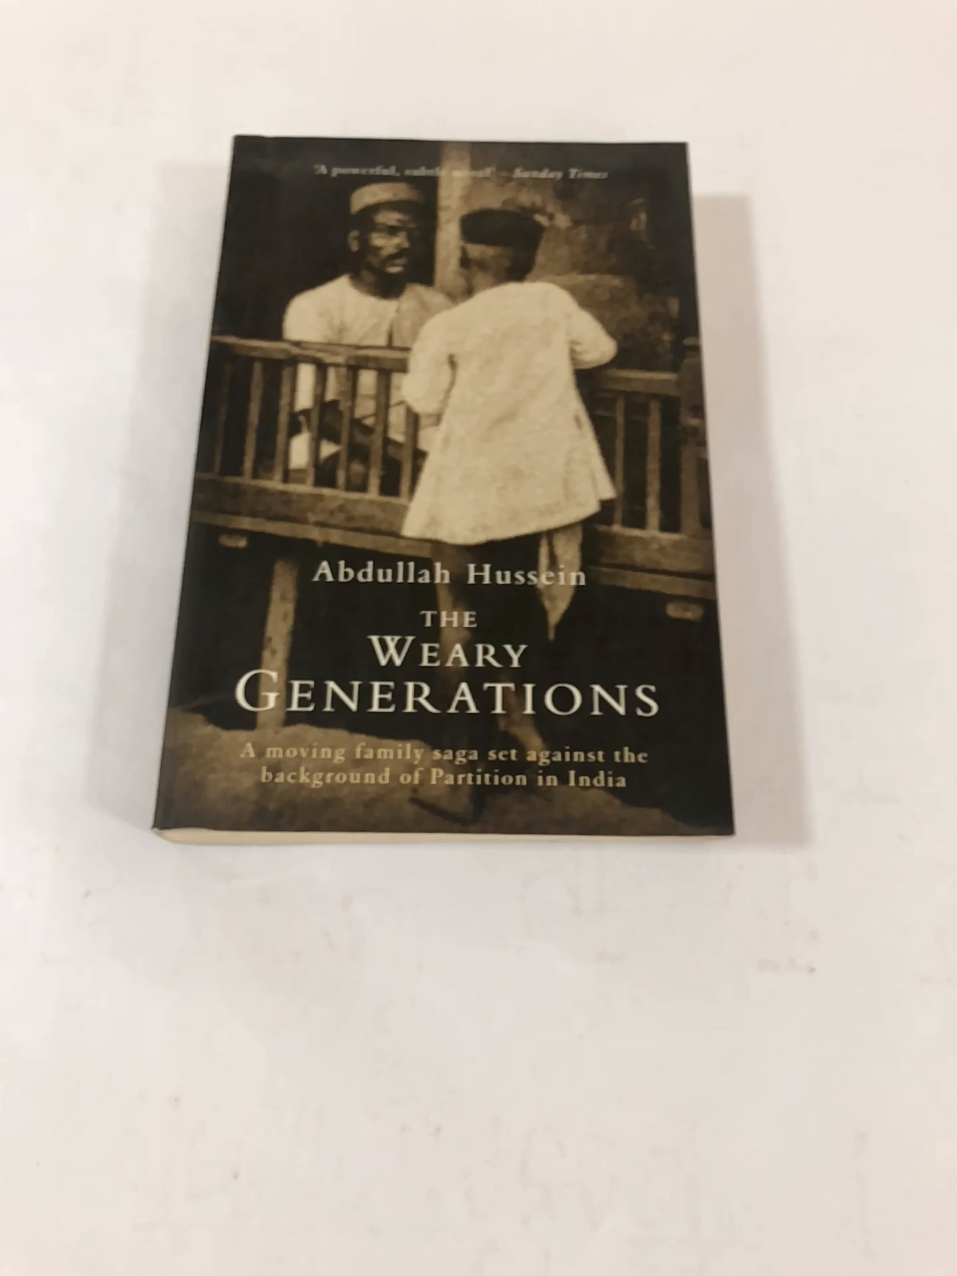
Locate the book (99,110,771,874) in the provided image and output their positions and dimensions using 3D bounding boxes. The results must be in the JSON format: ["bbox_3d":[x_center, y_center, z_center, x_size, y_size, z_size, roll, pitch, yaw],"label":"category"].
[{"bbox_3d":[-0.008,-0.045,0.274,0.140,0.030,0.200,1,69,0],"label":"book"}]
